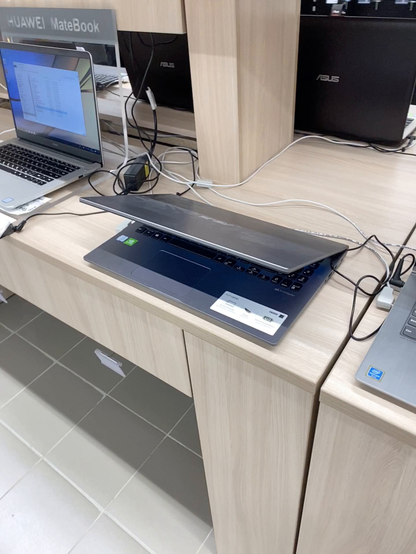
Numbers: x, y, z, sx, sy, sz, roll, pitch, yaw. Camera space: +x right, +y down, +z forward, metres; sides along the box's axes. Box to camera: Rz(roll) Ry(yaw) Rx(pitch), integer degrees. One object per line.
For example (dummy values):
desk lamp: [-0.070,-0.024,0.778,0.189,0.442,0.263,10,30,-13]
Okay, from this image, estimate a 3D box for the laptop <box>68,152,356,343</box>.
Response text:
laptop: [0.004,-0.074,0.652,0.355,0.097,0.230,22,45,30]

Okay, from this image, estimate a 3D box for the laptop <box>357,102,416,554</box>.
laptop: [0.379,0.008,0.403,0.352,0.222,0.259,21,45,29]
